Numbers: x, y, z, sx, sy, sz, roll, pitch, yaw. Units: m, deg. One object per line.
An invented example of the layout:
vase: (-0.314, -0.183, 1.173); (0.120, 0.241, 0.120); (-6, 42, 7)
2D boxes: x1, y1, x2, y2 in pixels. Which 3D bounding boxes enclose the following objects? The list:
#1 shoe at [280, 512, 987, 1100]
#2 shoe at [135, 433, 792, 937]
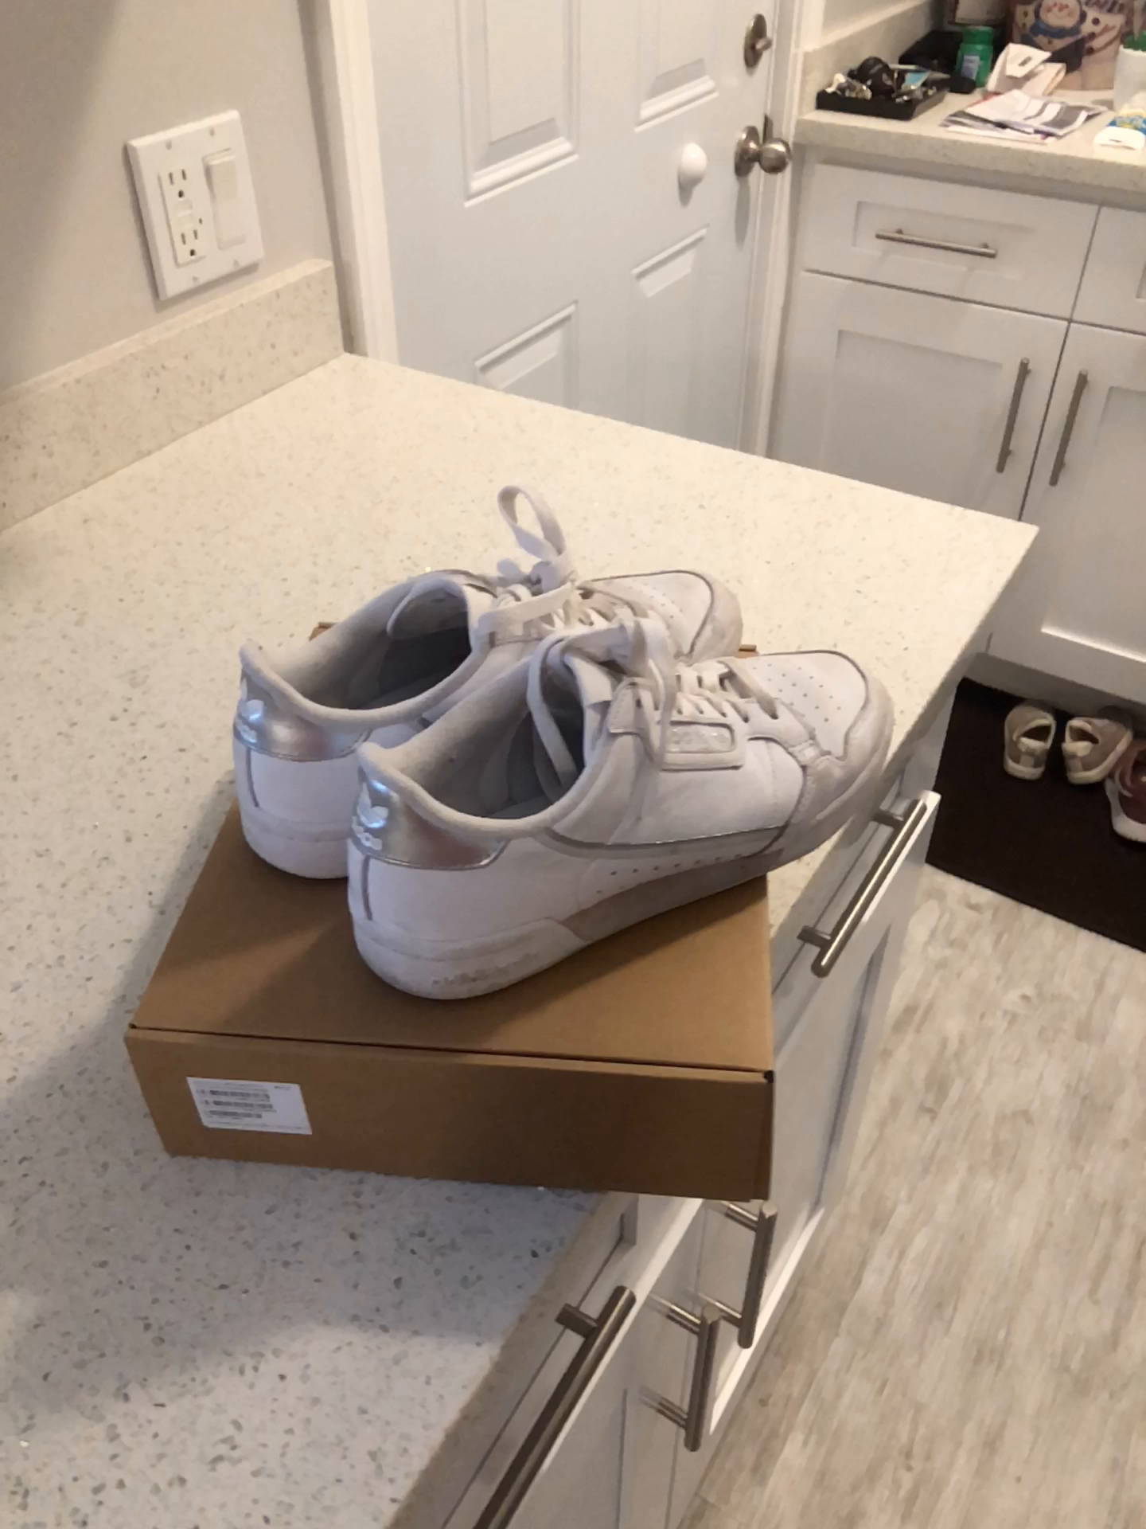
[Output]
shoe: (0.033, 0.002, 0.518); (0.268, 0.100, 0.108); (-27, 46, -29)
shoe: (-0.039, -0.049, 0.572); (0.268, 0.100, 0.108); (-27, 46, -29)
